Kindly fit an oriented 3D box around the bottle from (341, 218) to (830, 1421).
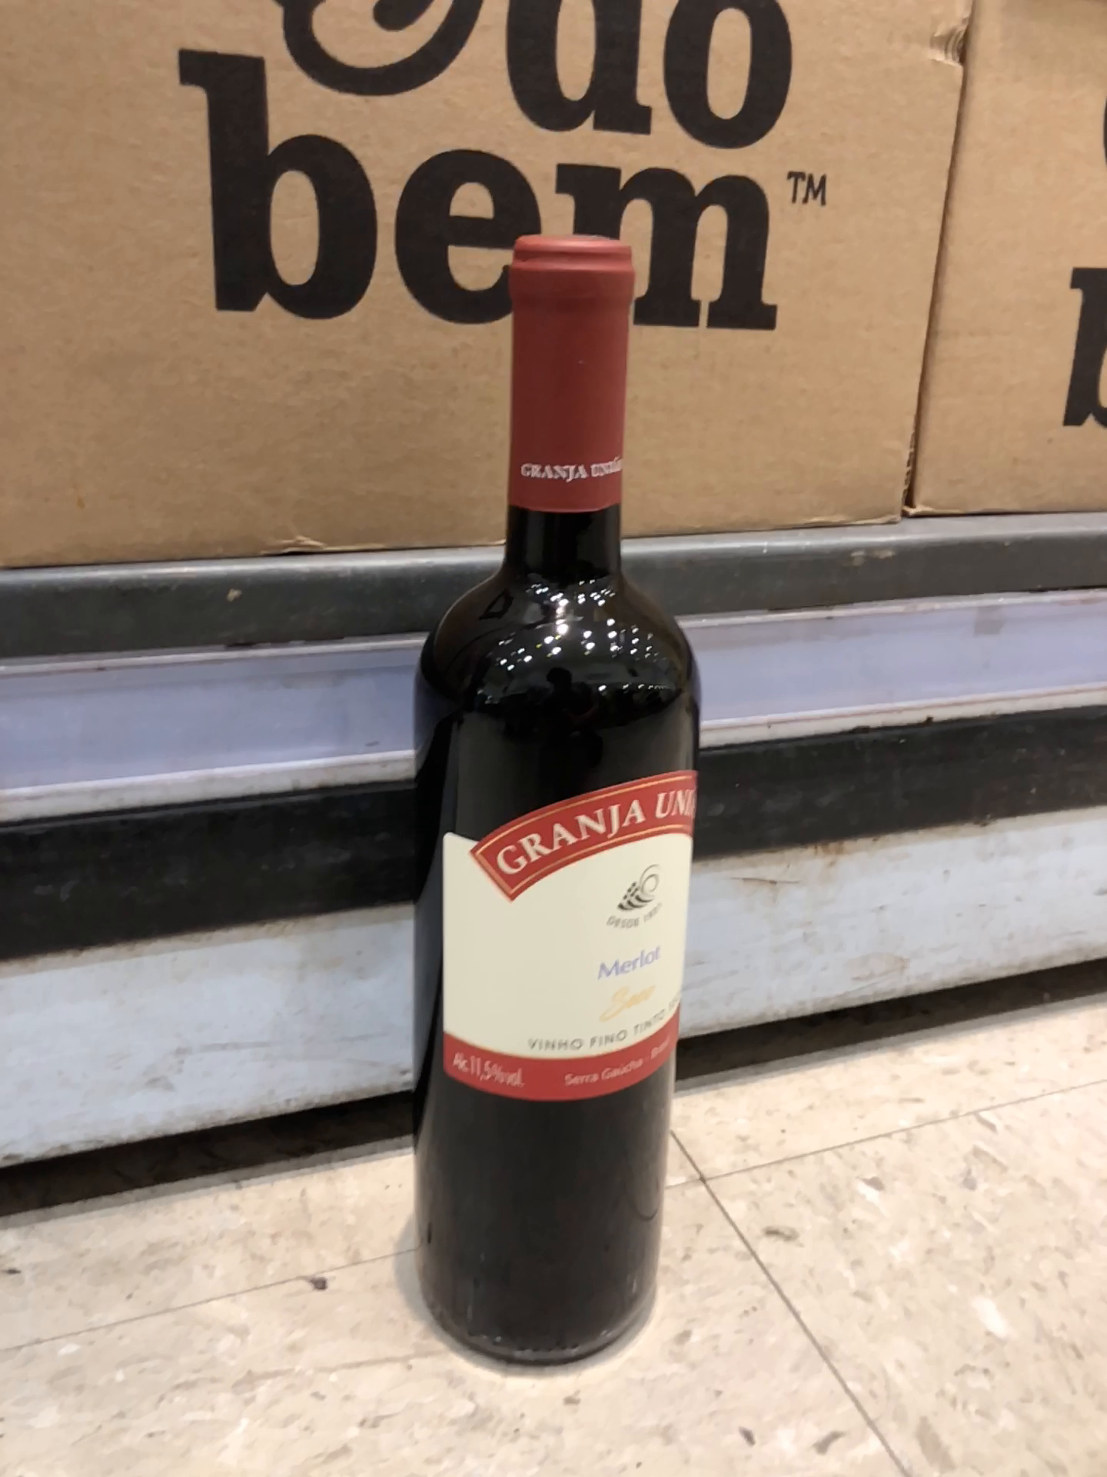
[{"bbox_3d":[0.000,0.024,0.331,0.080,0.298,0.080,2,20,-1],"label":"bottle"}]
